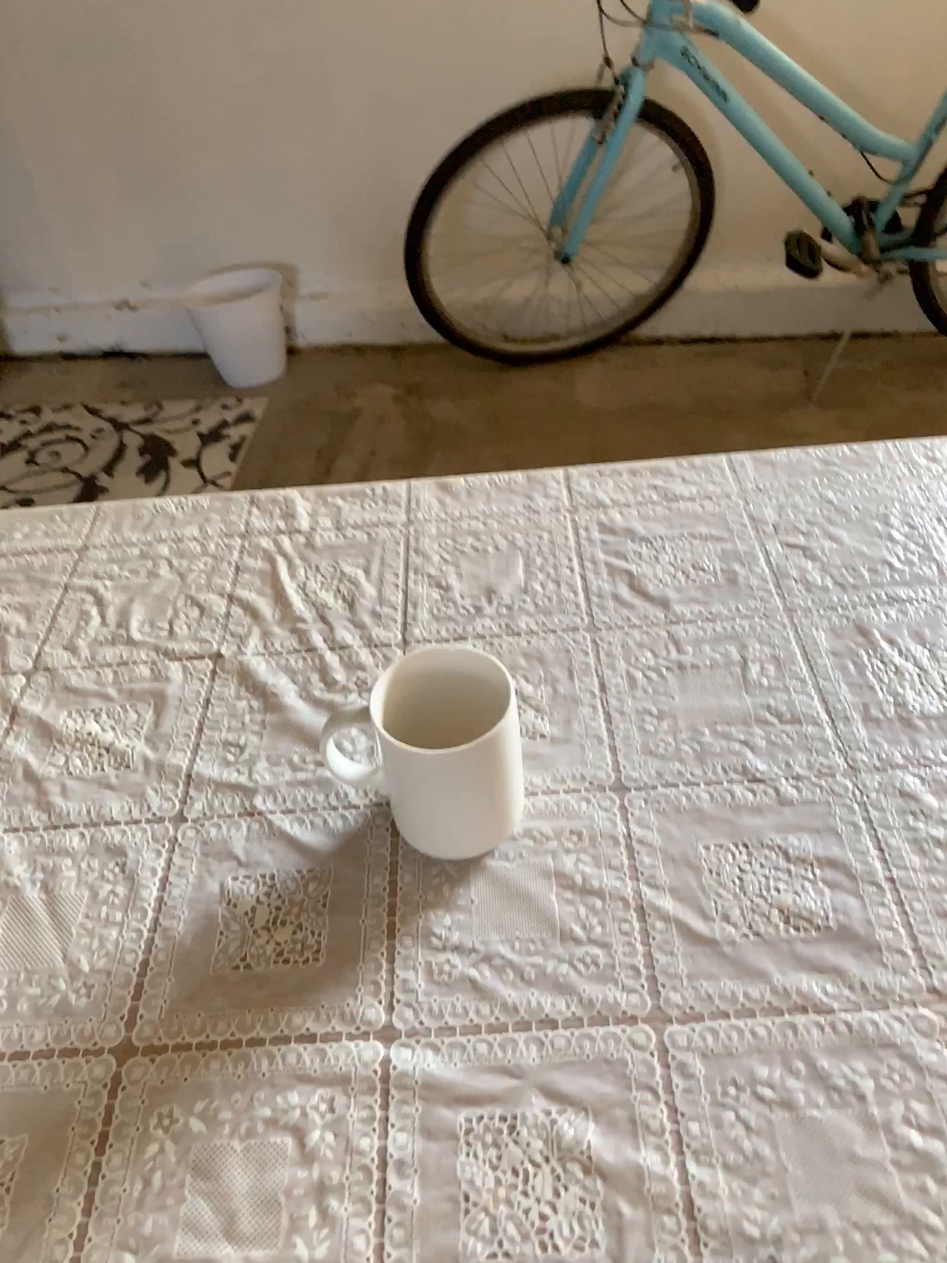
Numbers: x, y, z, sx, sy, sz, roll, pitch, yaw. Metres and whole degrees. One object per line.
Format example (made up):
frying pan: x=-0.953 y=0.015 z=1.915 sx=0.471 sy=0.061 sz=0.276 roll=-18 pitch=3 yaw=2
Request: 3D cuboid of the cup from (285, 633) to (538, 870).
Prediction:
cup: x=-0.031 y=0.070 z=0.582 sx=0.120 sy=0.090 sz=0.090 roll=6 pitch=47 yaw=13
